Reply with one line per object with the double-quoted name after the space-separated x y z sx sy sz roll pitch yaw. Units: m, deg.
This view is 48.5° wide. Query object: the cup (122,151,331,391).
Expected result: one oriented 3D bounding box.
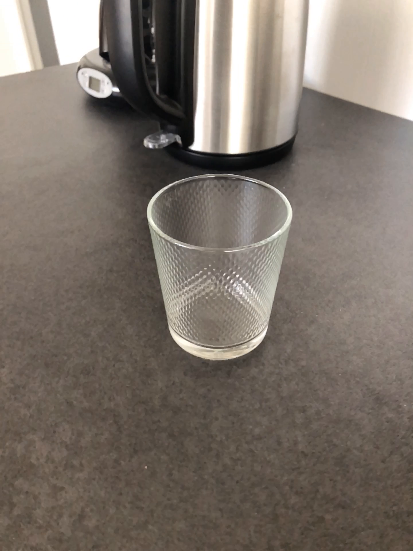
0.013 -0.006 0.265 0.080 0.089 0.081 0 39 0 "cup"
